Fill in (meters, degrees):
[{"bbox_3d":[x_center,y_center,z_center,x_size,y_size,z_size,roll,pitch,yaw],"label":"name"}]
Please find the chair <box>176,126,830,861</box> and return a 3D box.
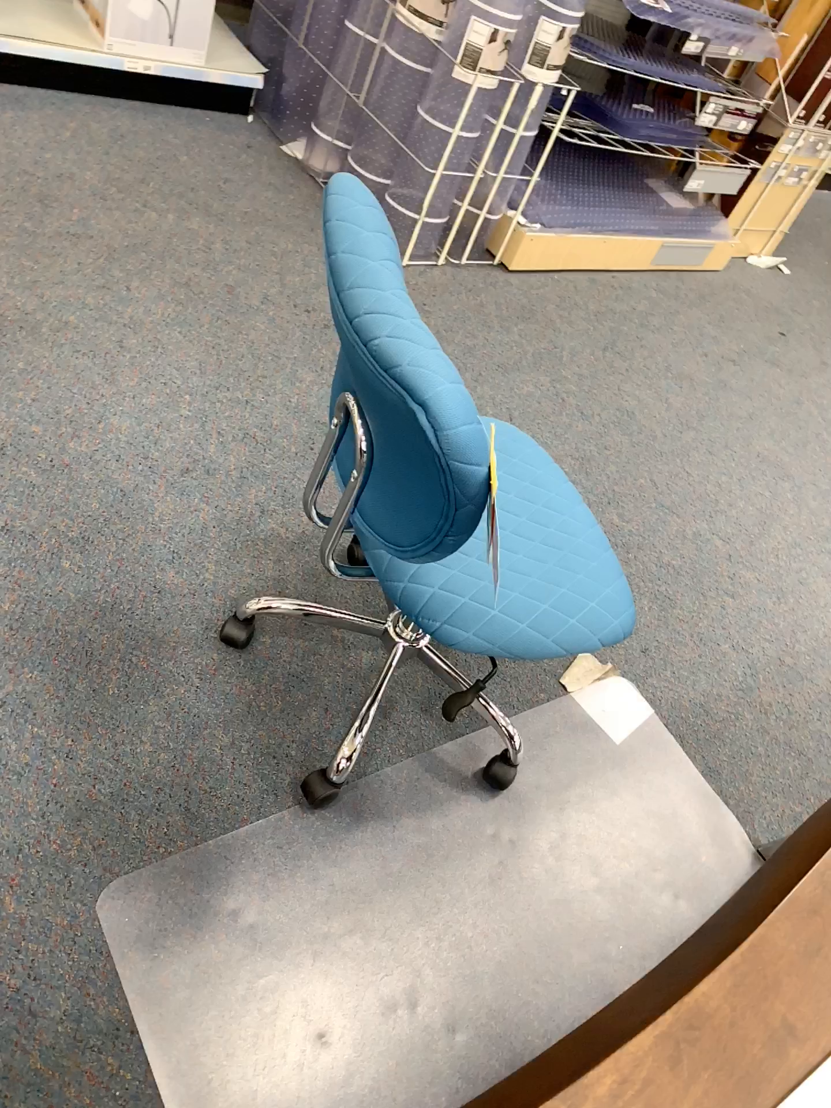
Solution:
[{"bbox_3d":[0.083,-0.042,1.275,0.665,0.775,0.600,0,50,-28],"label":"chair"}]
